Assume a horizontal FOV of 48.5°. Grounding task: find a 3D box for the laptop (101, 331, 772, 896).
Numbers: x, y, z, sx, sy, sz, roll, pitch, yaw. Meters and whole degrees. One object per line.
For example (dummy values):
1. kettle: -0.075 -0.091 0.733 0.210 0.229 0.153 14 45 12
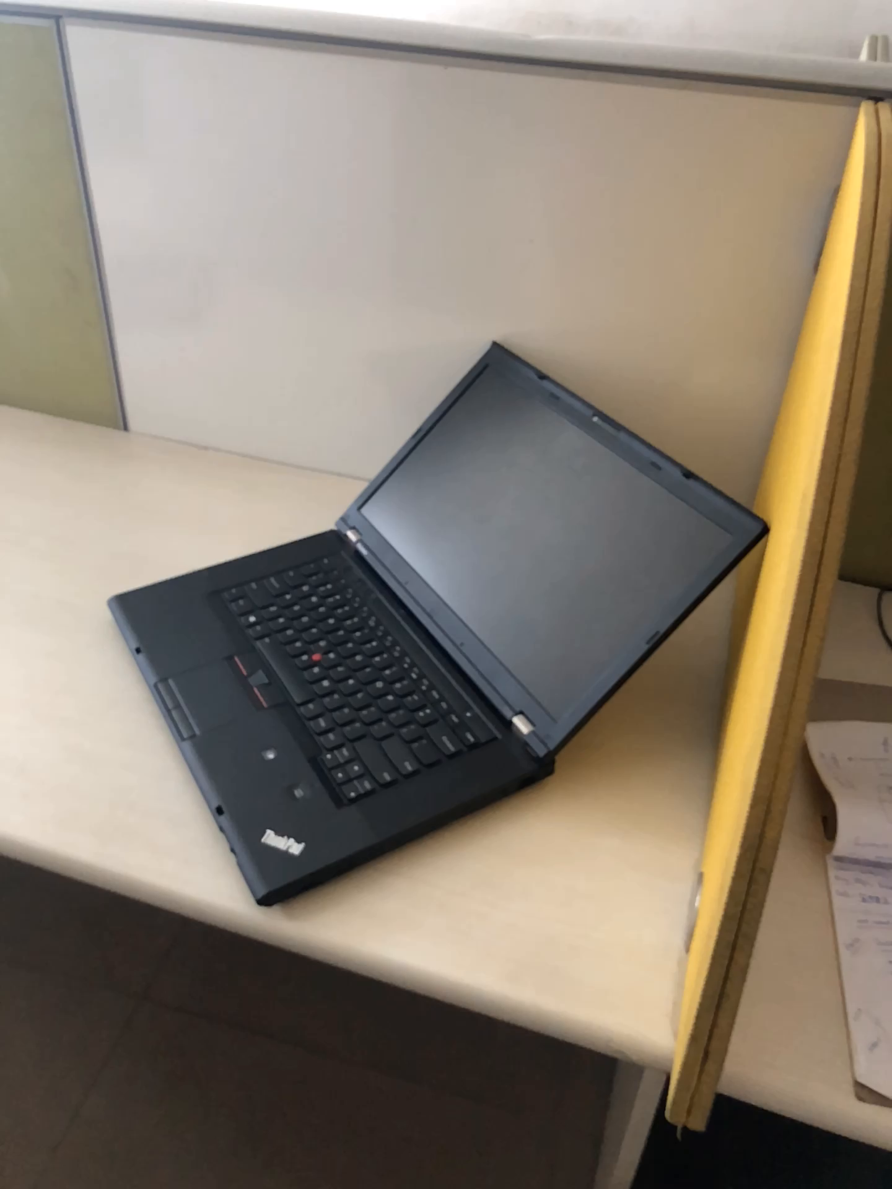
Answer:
1. laptop: -0.022 -0.030 0.817 0.418 0.143 0.354 -21 44 -23
